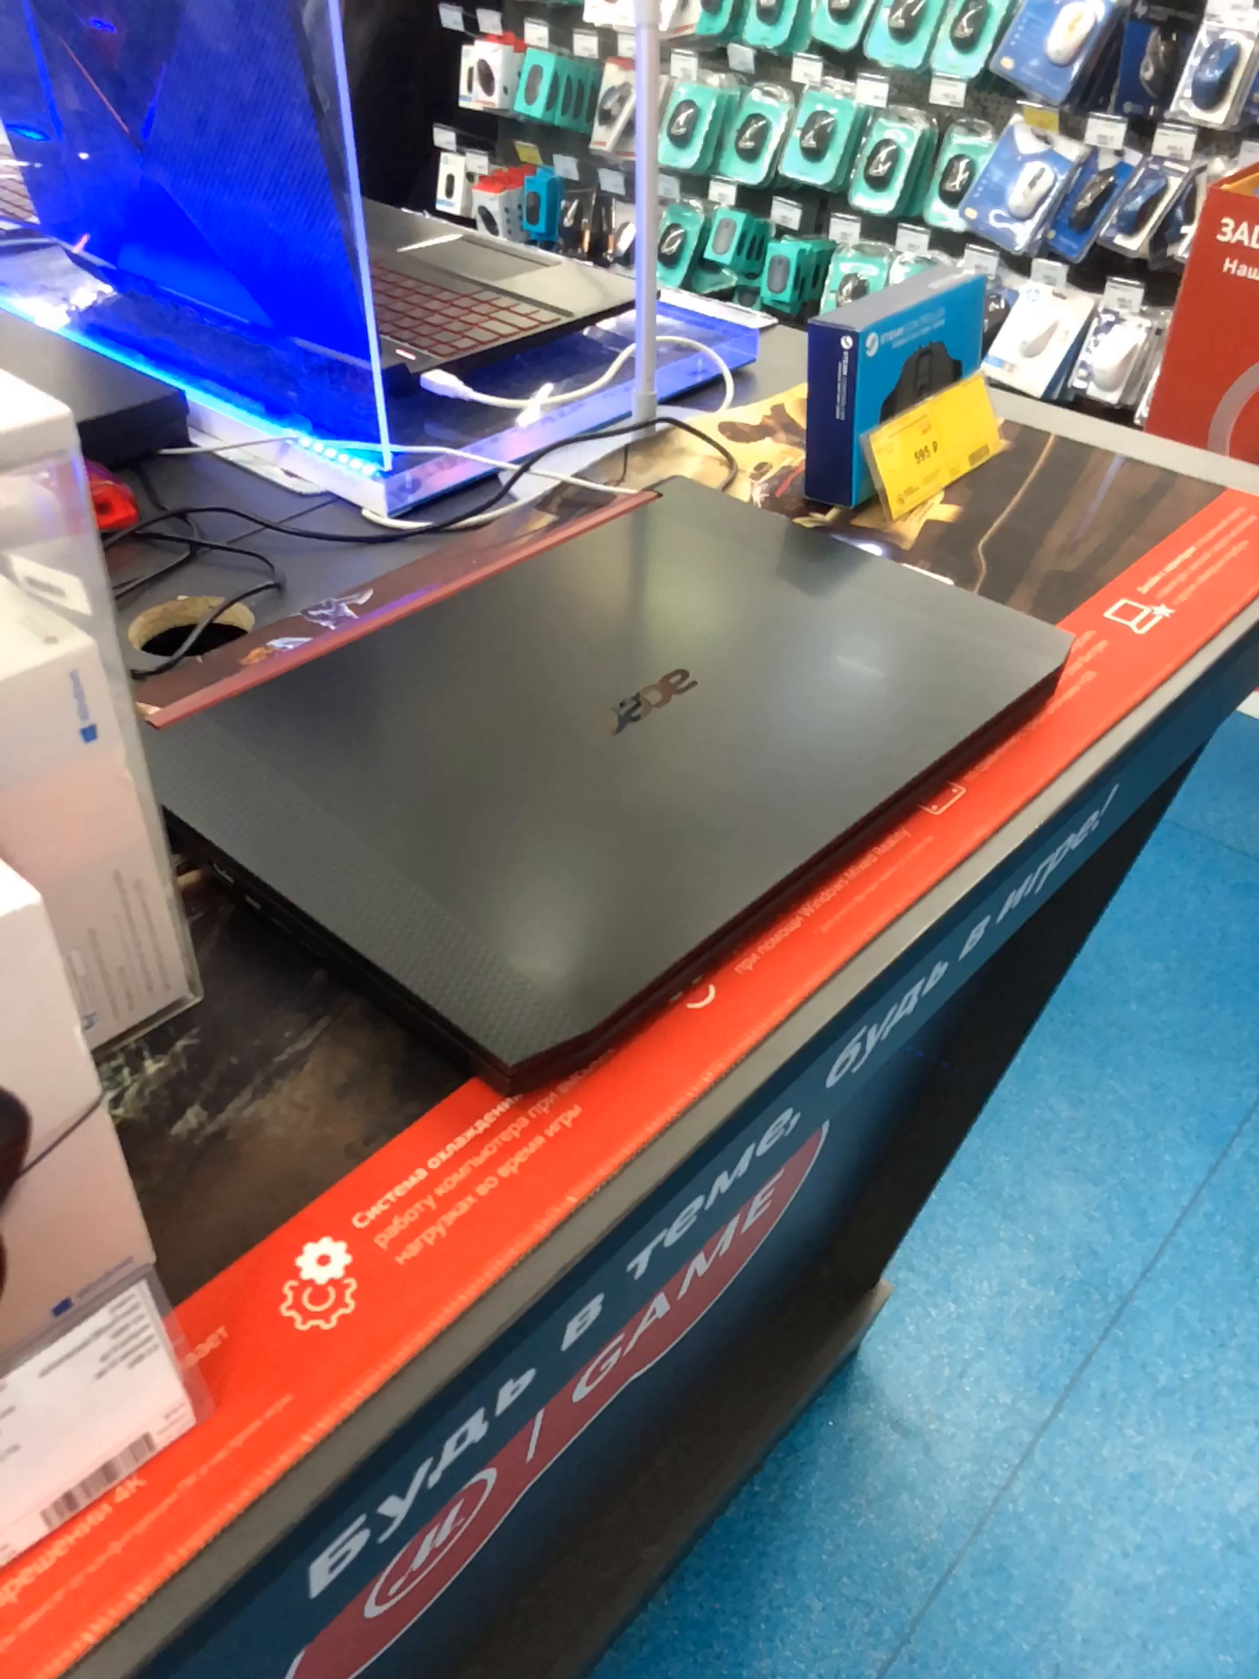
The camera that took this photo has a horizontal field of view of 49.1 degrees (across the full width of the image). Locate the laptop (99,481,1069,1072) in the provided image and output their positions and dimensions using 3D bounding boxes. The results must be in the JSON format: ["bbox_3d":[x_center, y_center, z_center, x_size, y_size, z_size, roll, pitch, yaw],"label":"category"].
[{"bbox_3d":[-0.004,-0.063,0.591,0.243,0.005,0.351,30,46,31],"label":"laptop"}]
